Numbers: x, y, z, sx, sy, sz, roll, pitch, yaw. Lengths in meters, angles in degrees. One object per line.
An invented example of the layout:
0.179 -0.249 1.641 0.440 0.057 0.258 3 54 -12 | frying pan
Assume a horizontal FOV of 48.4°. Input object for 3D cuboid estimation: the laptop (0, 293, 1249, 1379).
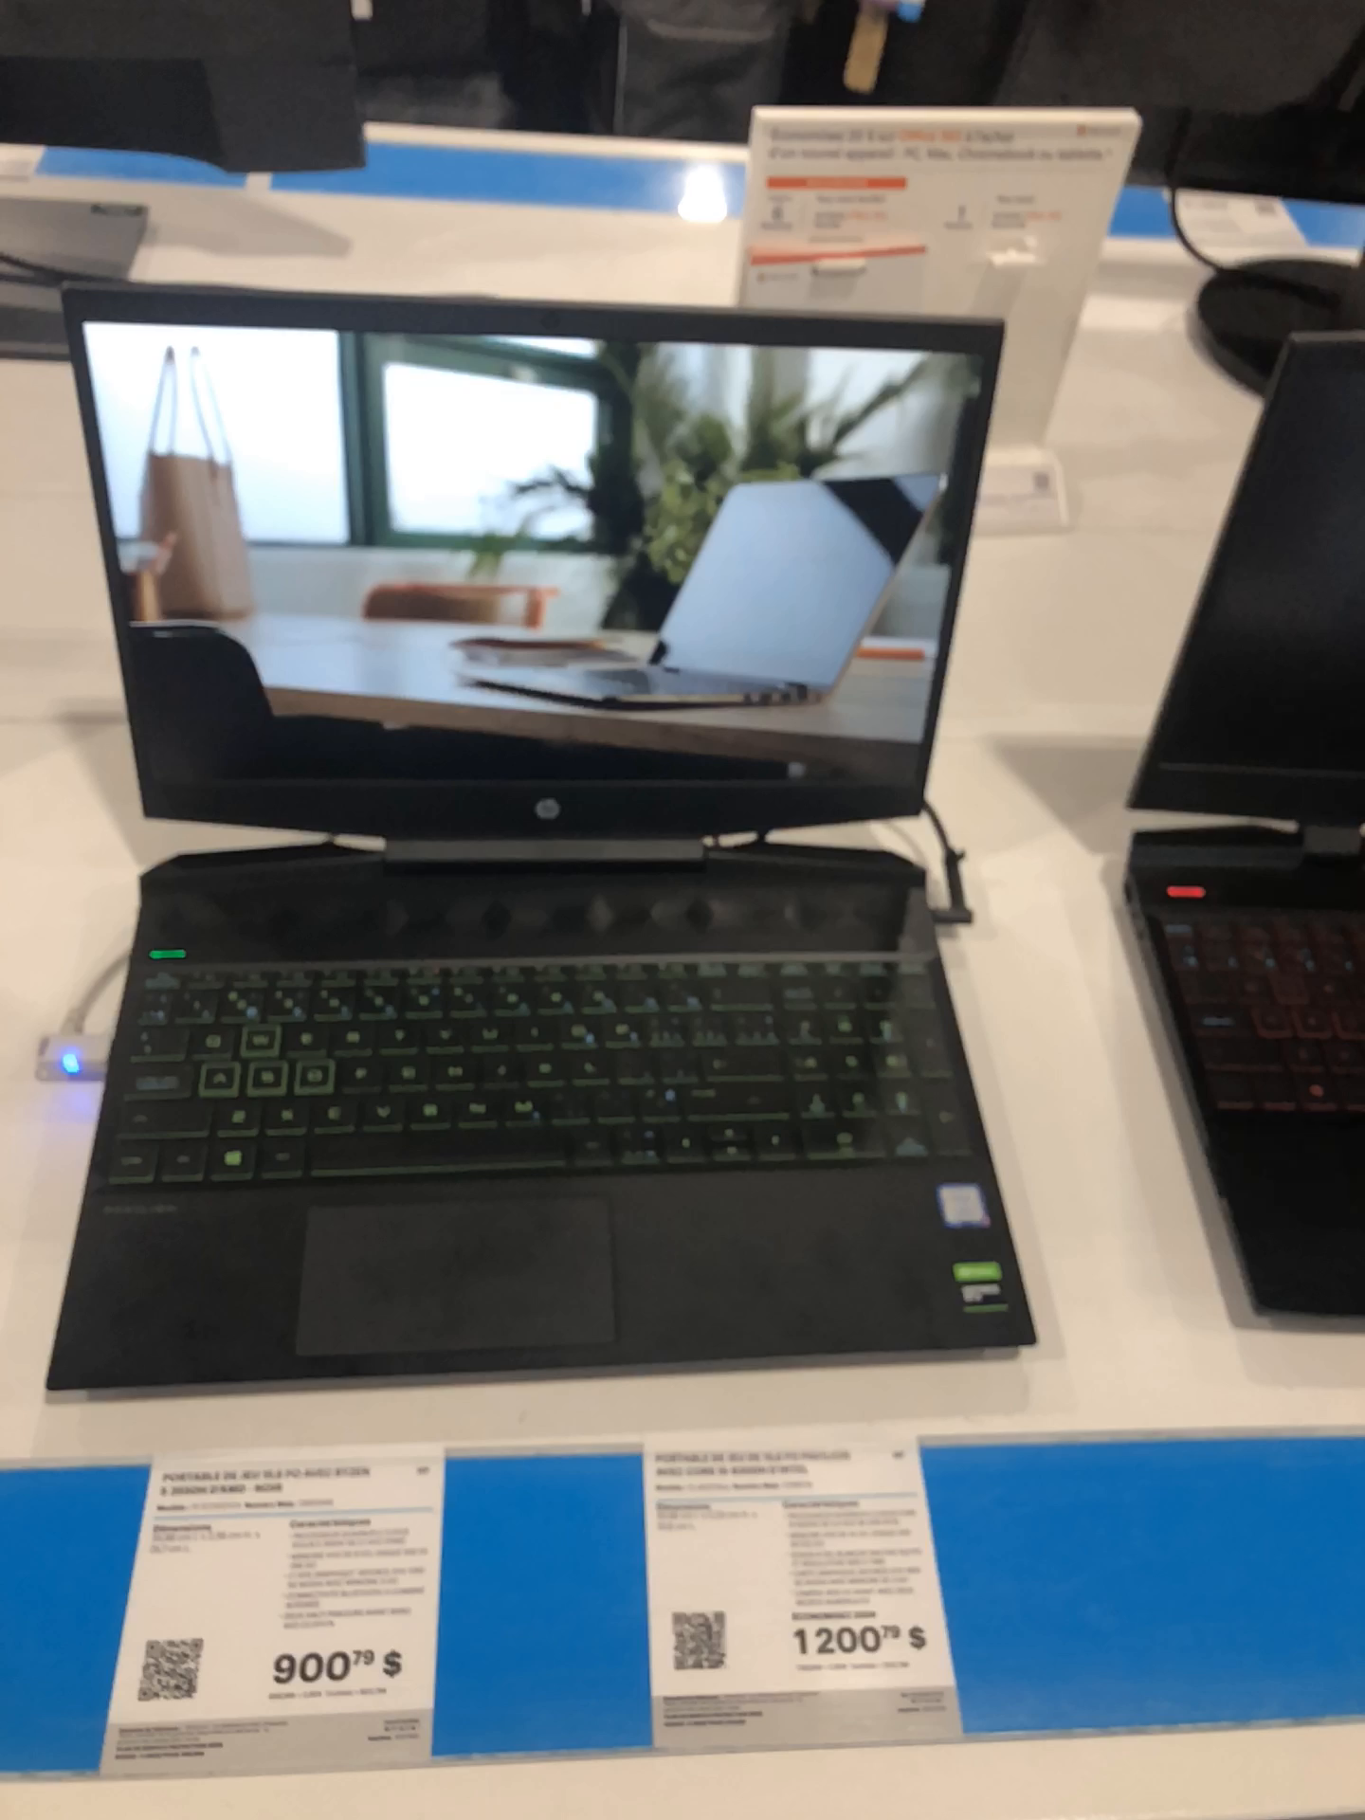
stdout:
-0.050 -0.033 0.568 0.355 0.232 0.317 0 48 -8 | laptop
